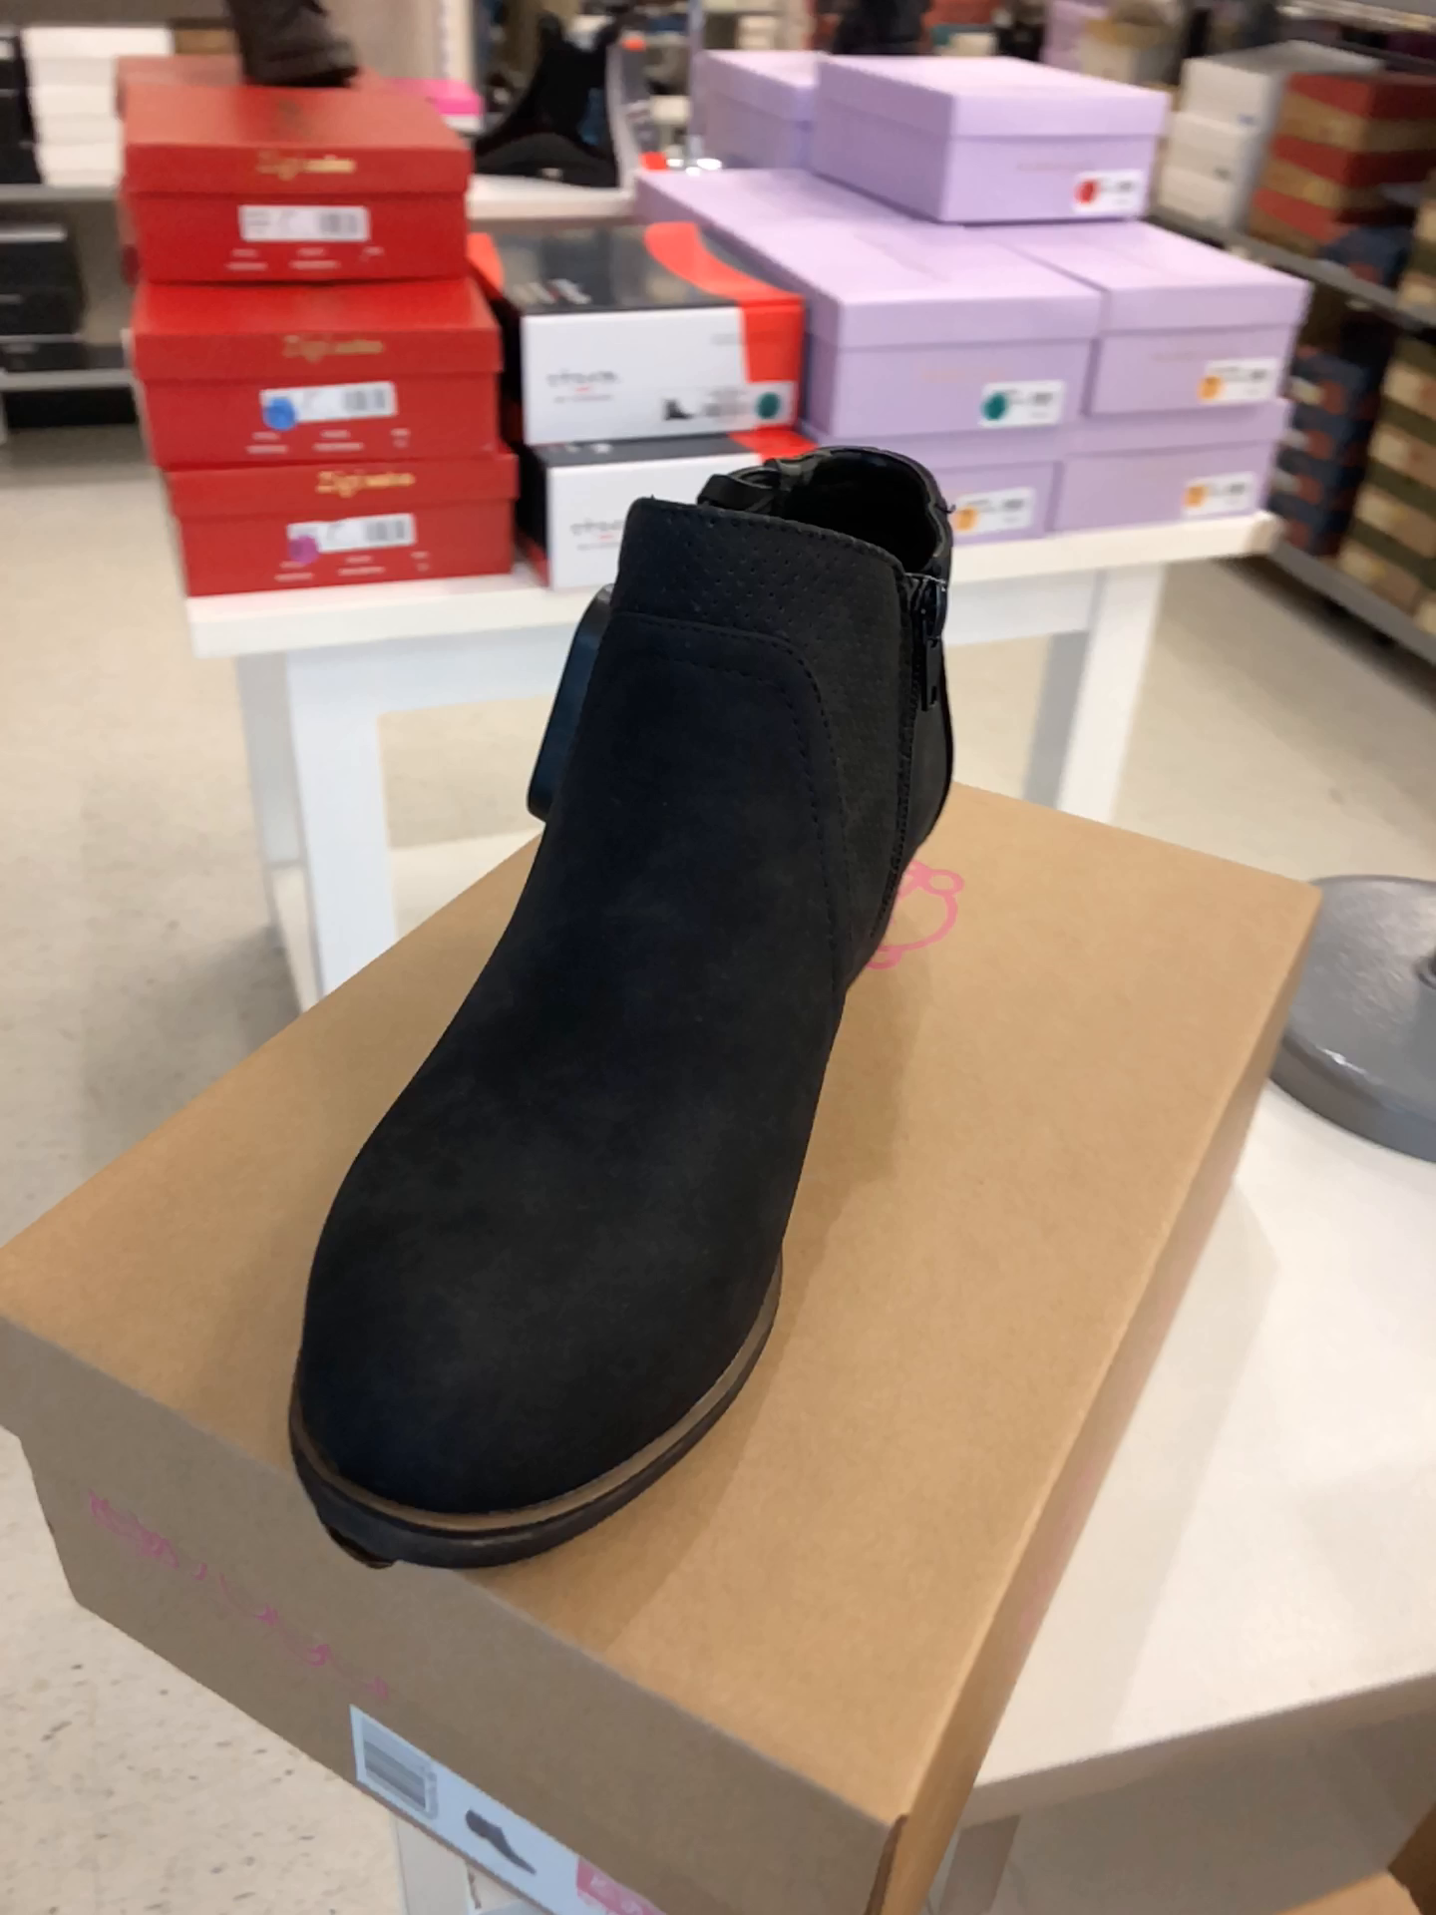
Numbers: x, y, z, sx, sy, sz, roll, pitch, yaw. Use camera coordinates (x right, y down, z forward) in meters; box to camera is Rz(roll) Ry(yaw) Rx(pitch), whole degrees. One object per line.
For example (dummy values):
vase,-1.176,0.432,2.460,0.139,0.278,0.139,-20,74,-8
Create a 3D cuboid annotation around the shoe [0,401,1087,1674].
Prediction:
shoe,-0.009,-0.016,0.333,0.100,0.119,0.262,15,37,16
